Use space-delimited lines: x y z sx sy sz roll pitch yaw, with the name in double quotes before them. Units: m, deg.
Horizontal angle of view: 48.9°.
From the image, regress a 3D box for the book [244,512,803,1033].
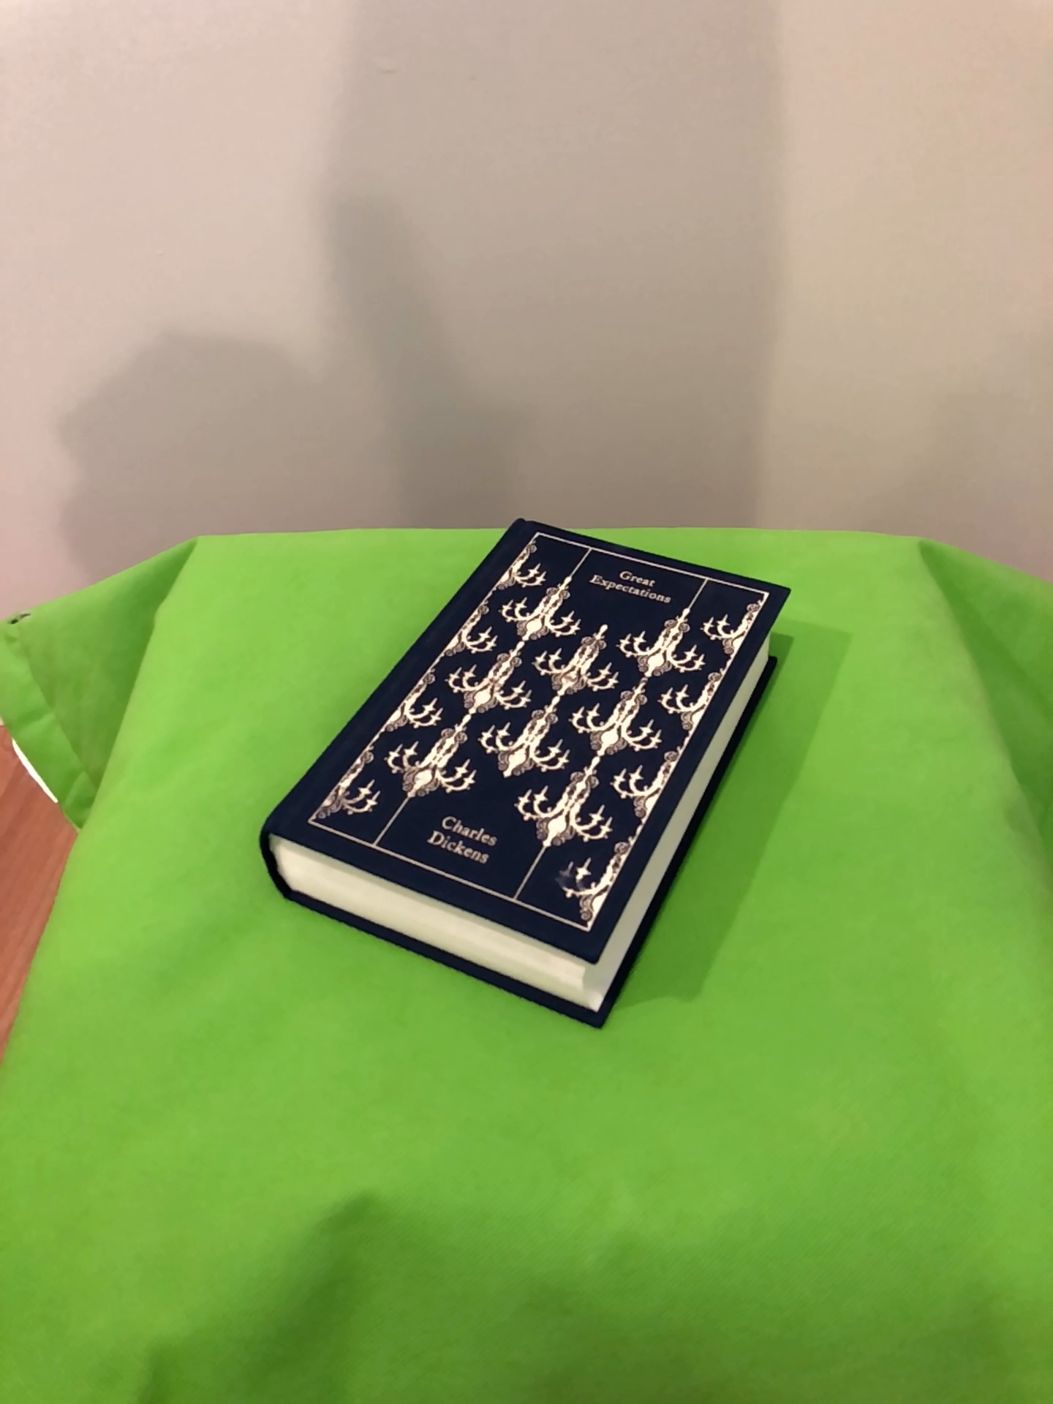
"book" 0.010 0.011 0.469 0.140 0.040 0.211 18 47 21
